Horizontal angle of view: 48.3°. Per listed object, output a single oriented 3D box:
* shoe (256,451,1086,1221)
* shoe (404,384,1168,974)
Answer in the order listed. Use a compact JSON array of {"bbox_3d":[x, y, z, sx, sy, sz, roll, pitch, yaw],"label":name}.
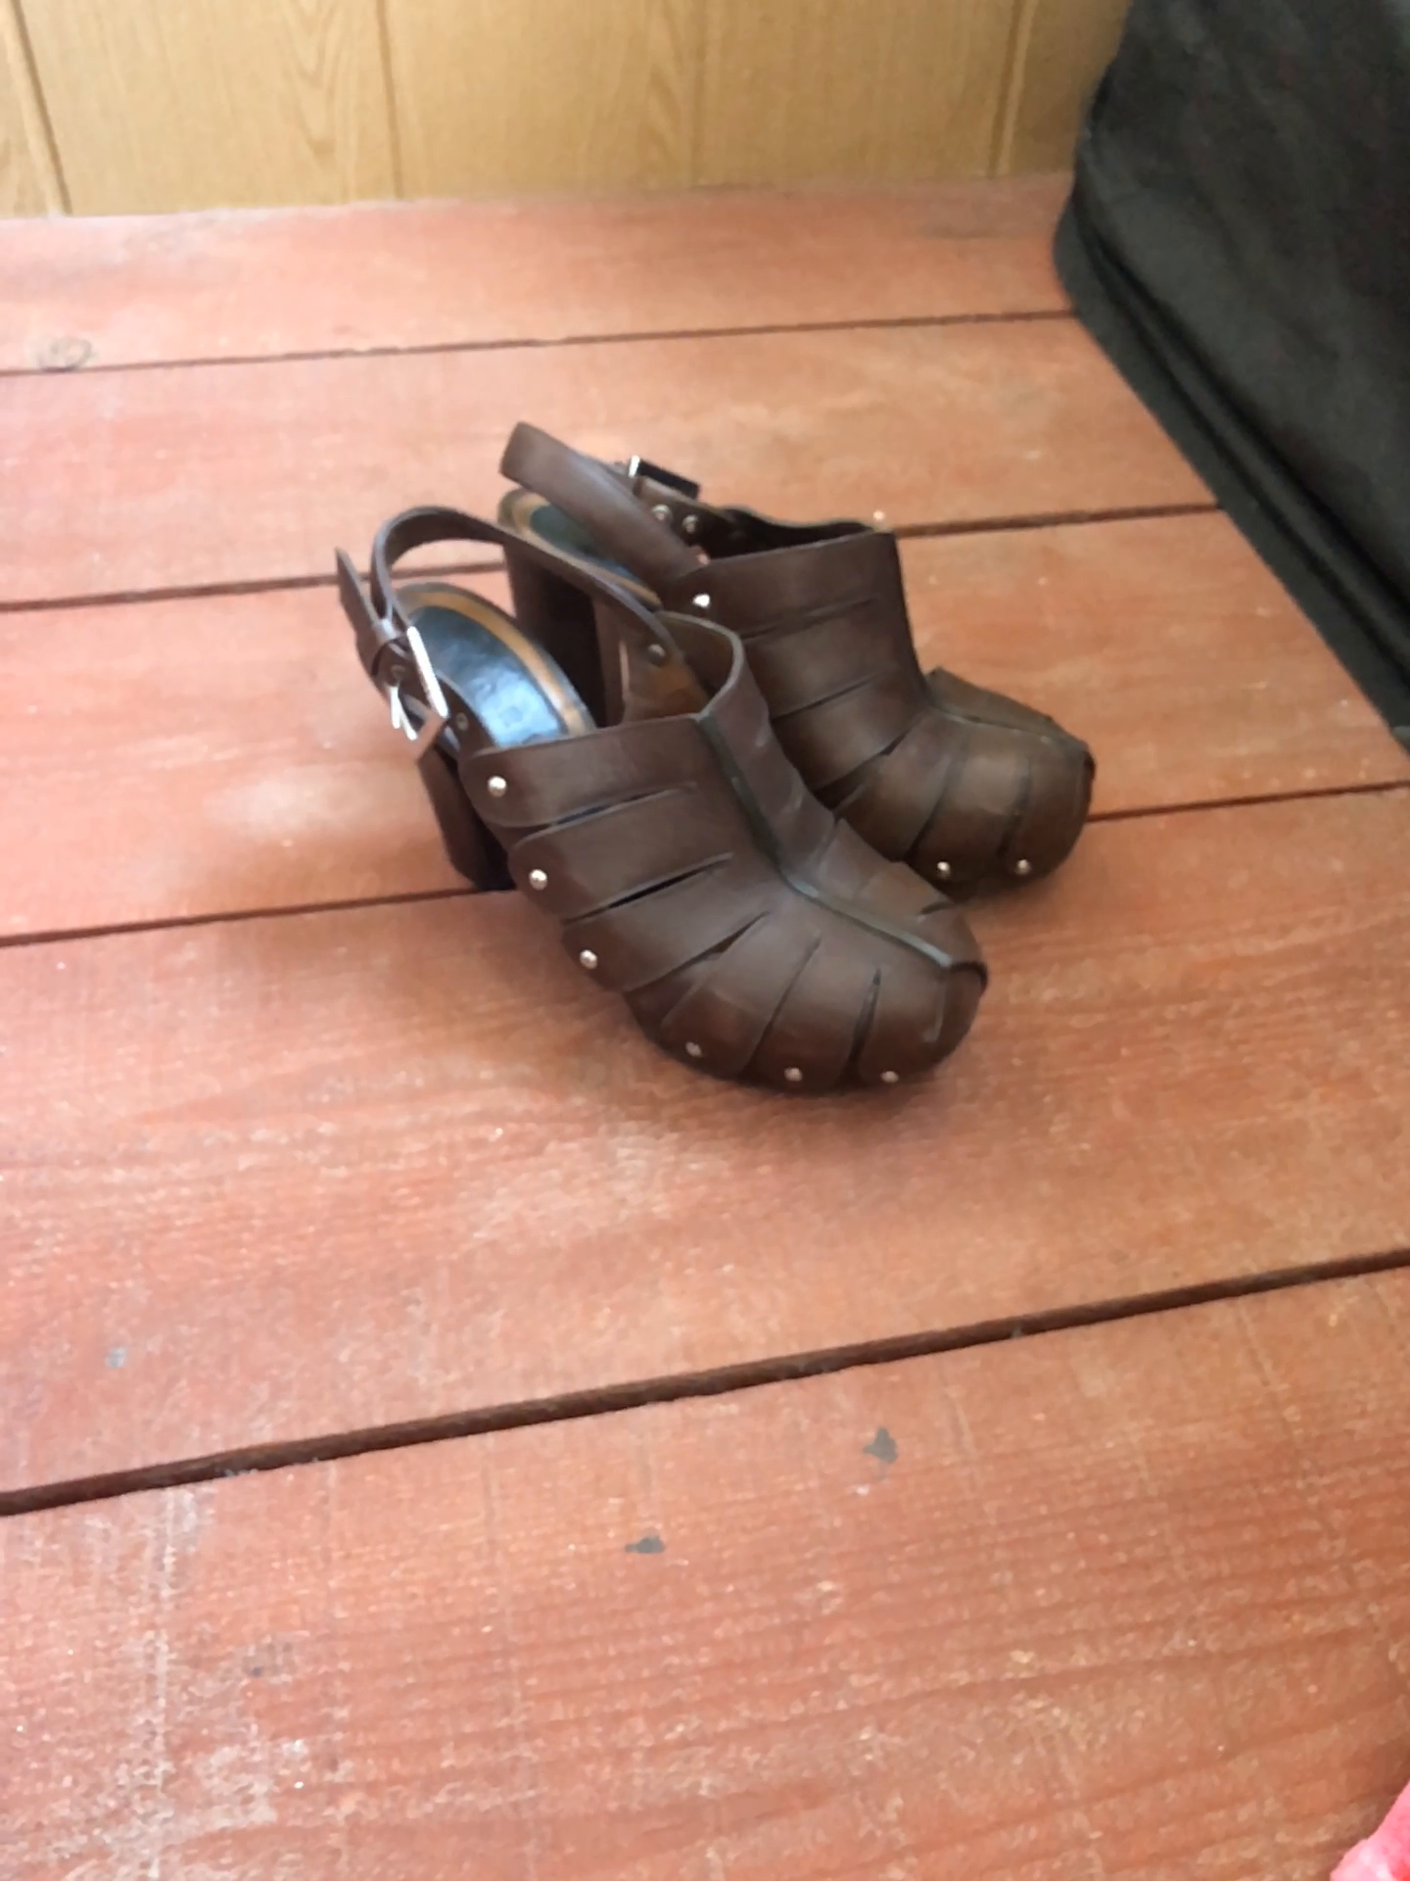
[{"bbox_3d":[-0.016,-0.035,0.453,0.210,0.120,0.080,30,53,22],"label":"shoe"},{"bbox_3d":[0.022,-0.084,0.494,0.210,0.110,0.080,16,36,7],"label":"shoe"}]
